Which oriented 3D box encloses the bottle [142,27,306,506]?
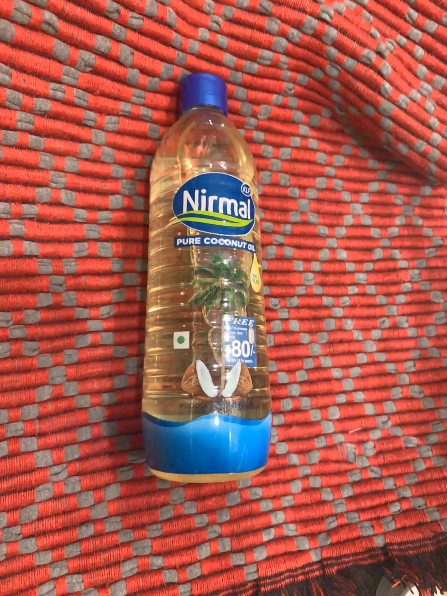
[{"bbox_3d":[0.000,-0.015,0.223,0.060,0.050,0.200,4,81,-20],"label":"bottle"}]
